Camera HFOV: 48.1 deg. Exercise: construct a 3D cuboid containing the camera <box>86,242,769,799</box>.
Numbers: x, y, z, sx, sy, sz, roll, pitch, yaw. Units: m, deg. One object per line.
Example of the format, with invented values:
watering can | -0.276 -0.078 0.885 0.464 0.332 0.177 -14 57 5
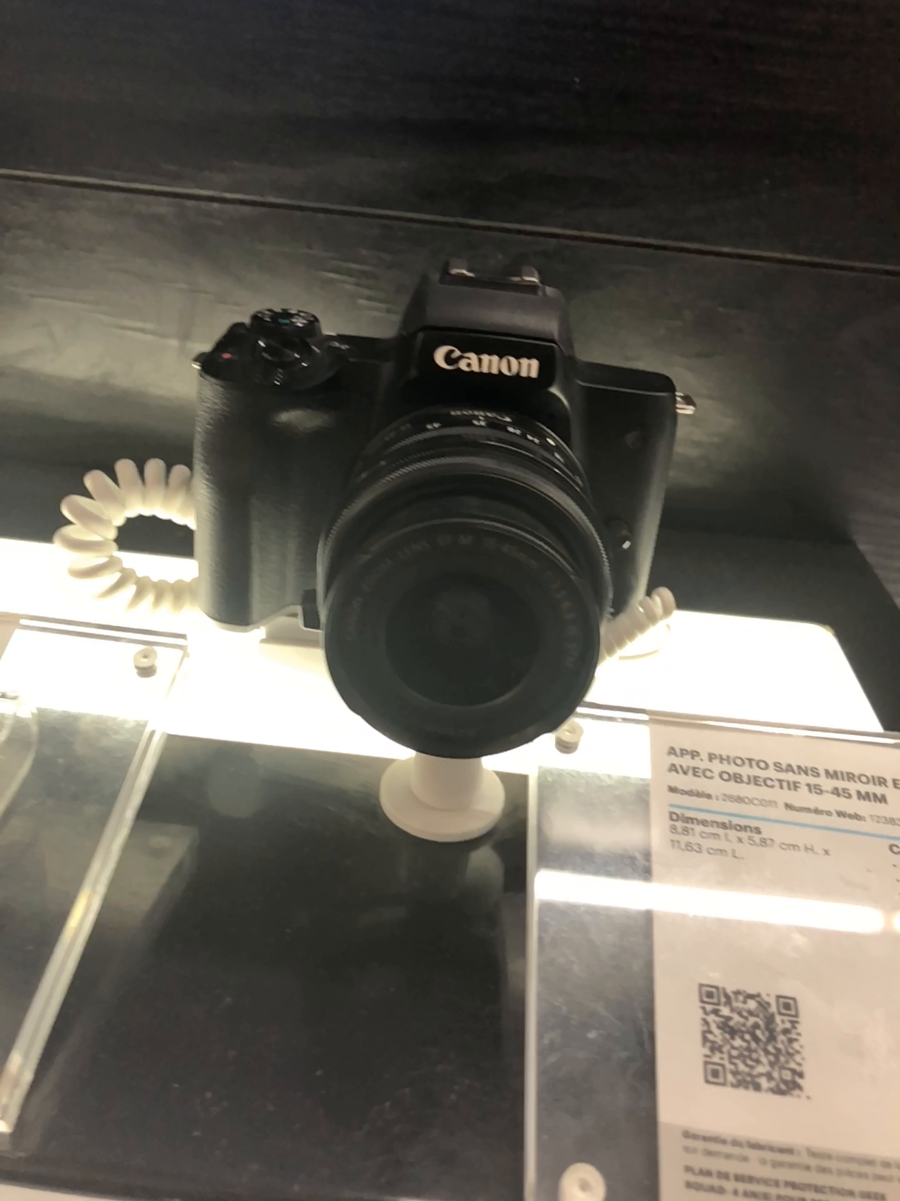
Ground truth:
camera | -0.005 -0.026 0.239 0.119 0.089 0.101 6 26 1
